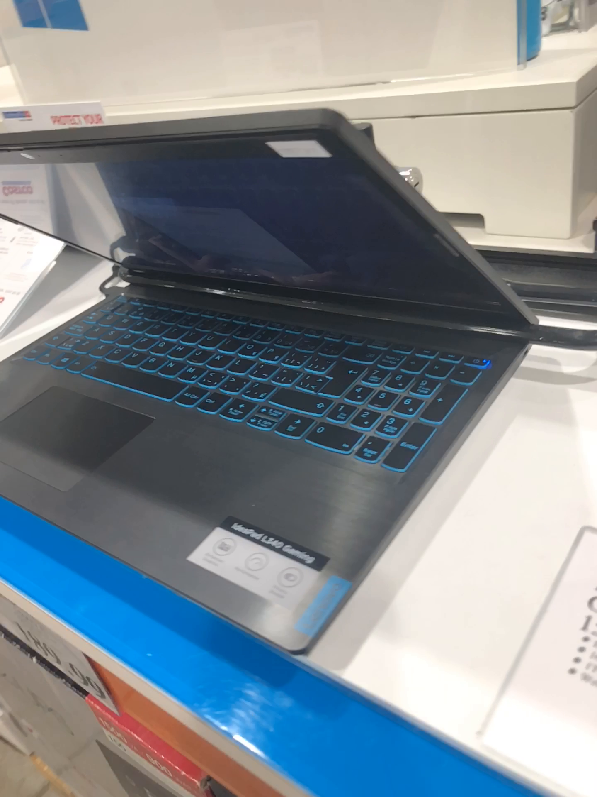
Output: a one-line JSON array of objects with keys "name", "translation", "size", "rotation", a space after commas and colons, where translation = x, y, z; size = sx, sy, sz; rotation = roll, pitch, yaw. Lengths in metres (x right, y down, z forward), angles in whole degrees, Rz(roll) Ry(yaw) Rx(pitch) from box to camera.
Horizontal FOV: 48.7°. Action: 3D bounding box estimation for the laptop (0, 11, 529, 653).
[{"name": "laptop", "translation": [-0.087, -0.073, 0.372], "size": [0.345, 0.170, 0.241], "rotation": [14, 43, 35]}]
